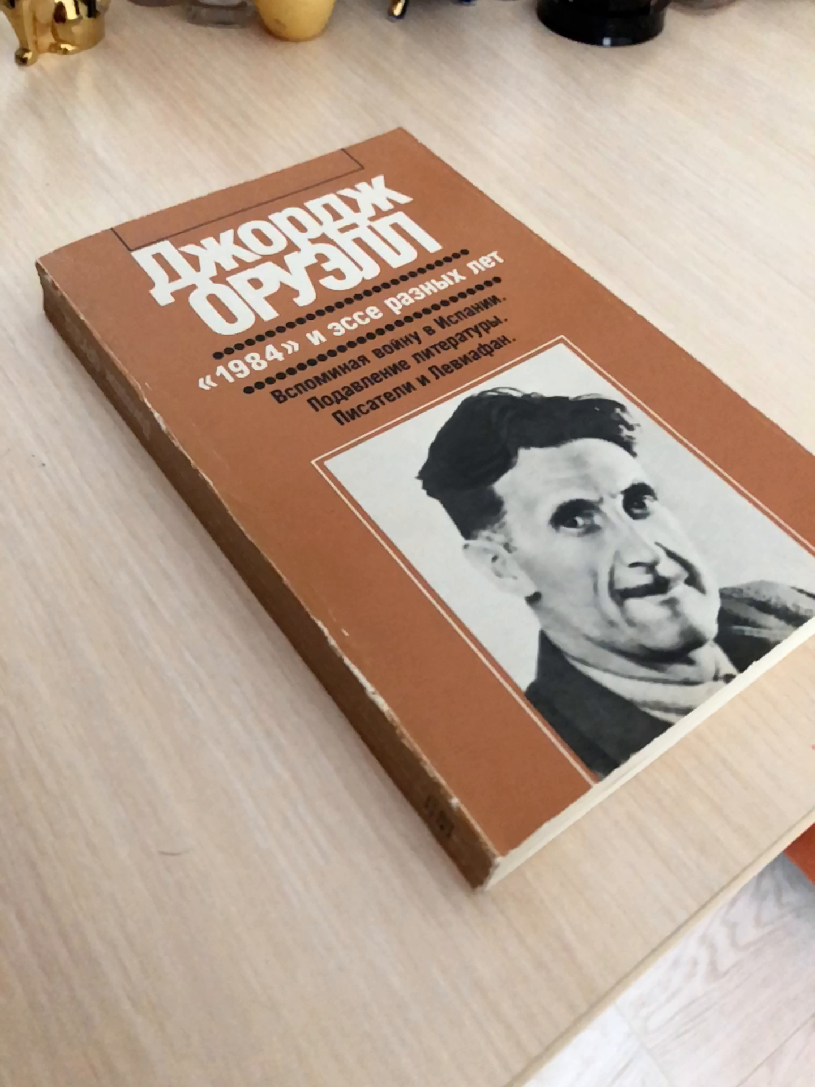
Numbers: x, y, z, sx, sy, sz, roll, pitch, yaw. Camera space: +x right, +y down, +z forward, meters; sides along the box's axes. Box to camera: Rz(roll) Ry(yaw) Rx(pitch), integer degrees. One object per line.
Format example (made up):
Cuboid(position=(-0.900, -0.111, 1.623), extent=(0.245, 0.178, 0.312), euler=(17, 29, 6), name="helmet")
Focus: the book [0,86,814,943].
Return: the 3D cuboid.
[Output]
Cuboid(position=(0.007, -0.035, 0.232), extent=(0.130, 0.040, 0.211), euler=(-30, 60, -22), name="book")
